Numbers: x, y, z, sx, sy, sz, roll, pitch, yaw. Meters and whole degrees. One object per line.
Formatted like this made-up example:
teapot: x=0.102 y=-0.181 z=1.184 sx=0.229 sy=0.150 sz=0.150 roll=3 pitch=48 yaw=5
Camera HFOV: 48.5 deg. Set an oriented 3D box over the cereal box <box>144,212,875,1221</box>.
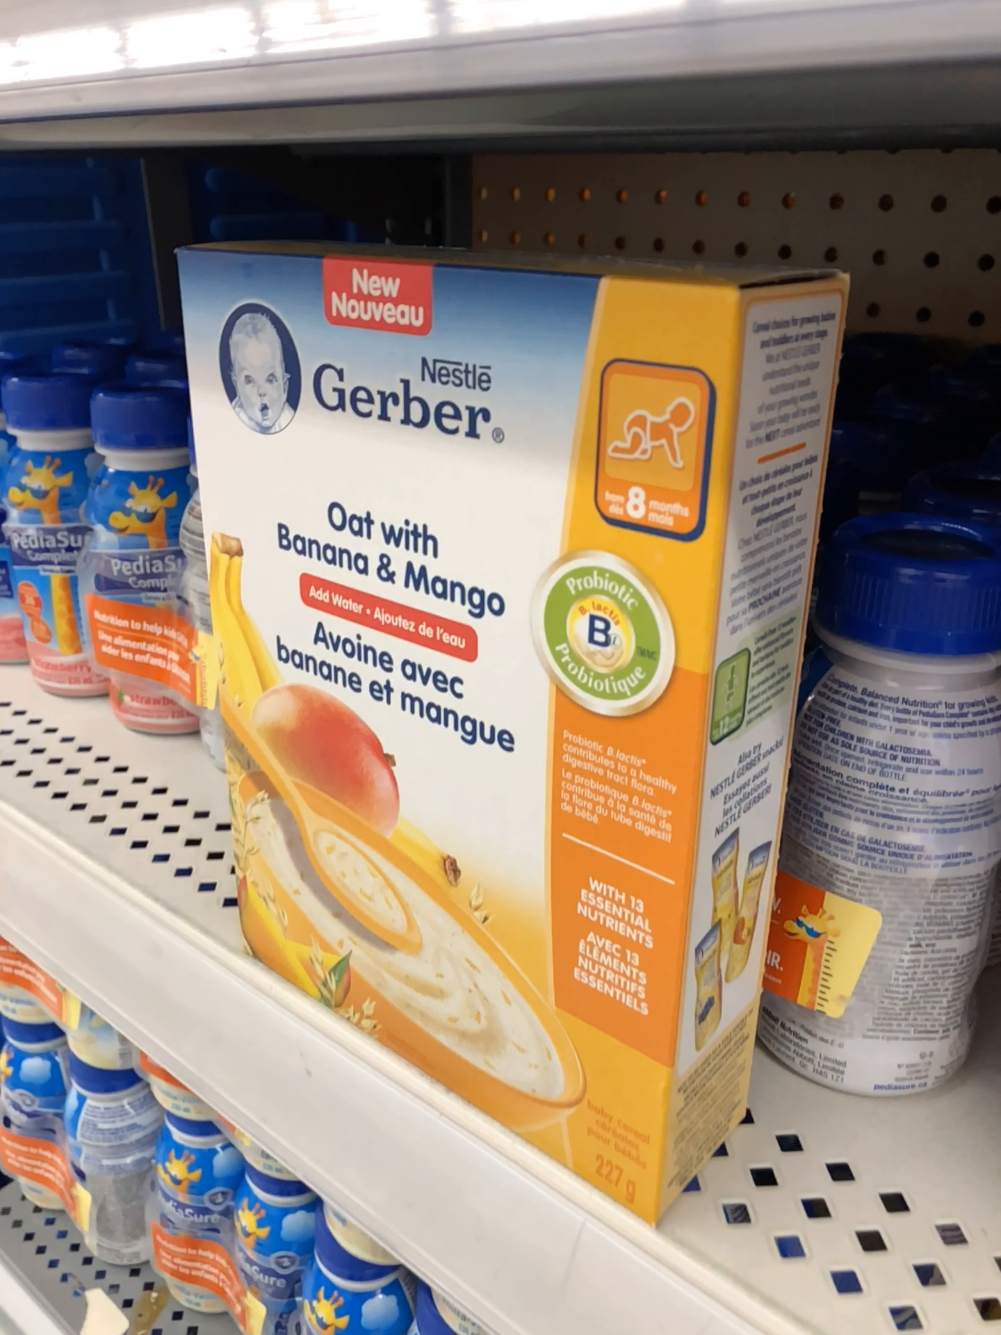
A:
cereal box: x=-0.009 y=0.002 z=0.252 sx=0.150 sy=0.189 sz=0.040 roll=20 pitch=31 yaw=36
